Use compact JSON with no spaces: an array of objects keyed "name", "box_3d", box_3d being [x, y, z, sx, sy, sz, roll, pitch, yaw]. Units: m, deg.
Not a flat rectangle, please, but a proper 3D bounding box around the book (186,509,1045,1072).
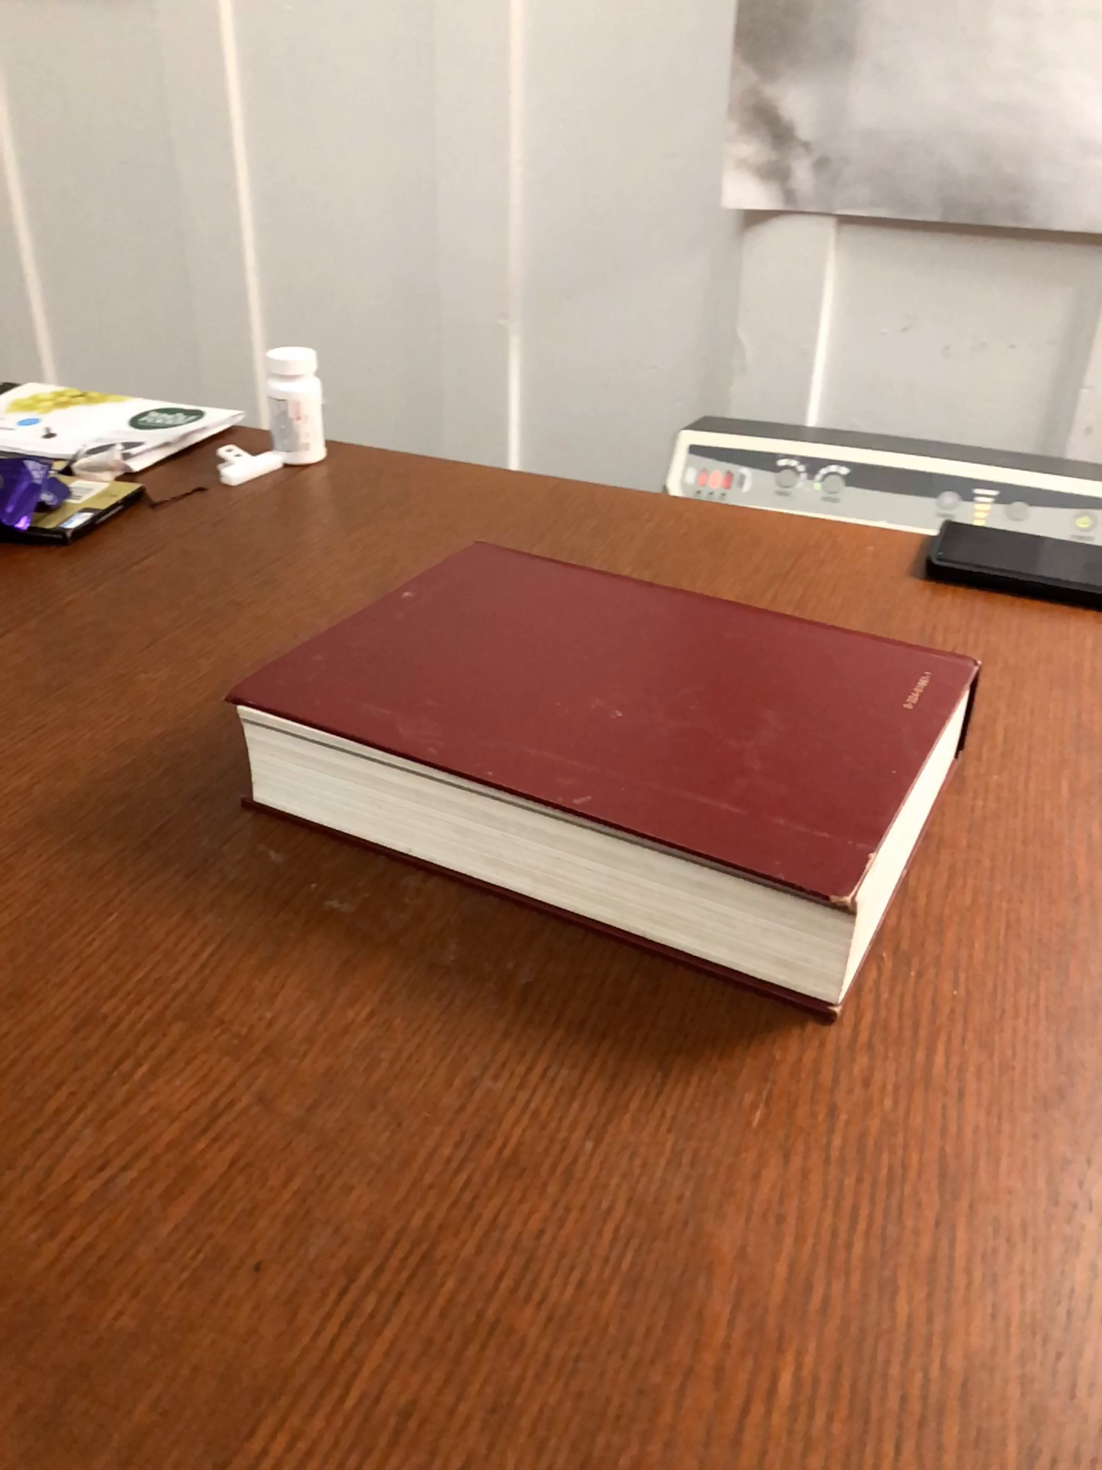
[{"name":"book","box_3d":[0.035,-0.006,0.521,0.290,0.070,0.221,16,33,24]}]
